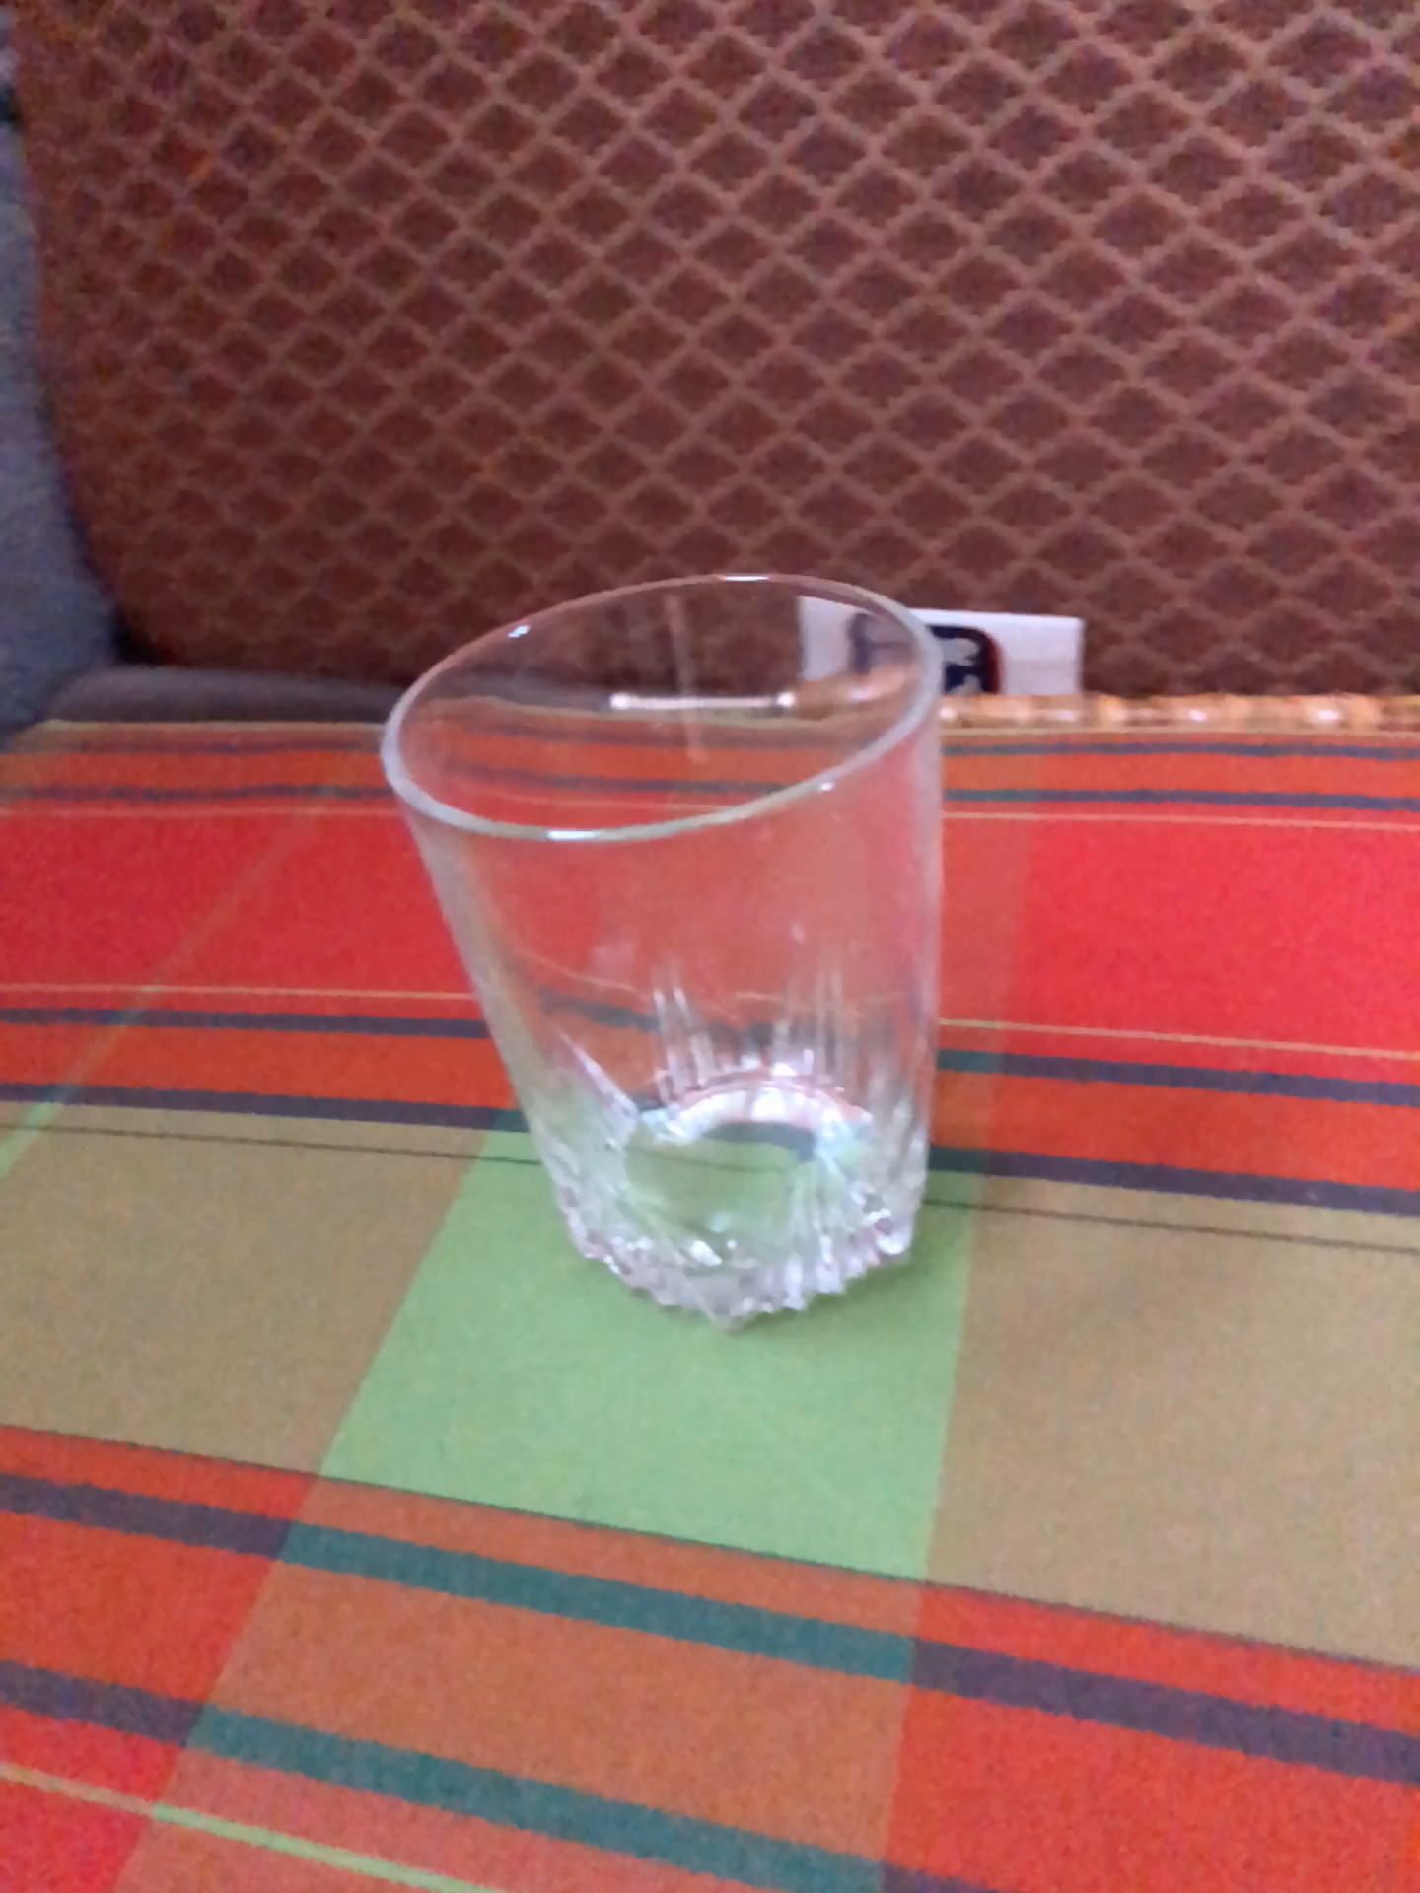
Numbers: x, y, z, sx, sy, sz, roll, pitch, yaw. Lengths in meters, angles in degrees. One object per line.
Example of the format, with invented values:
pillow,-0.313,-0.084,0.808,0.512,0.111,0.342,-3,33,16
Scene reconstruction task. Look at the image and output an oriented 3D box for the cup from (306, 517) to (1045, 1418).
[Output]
cup,-0.002,0.002,0.208,0.070,0.080,0.070,-8,37,6
